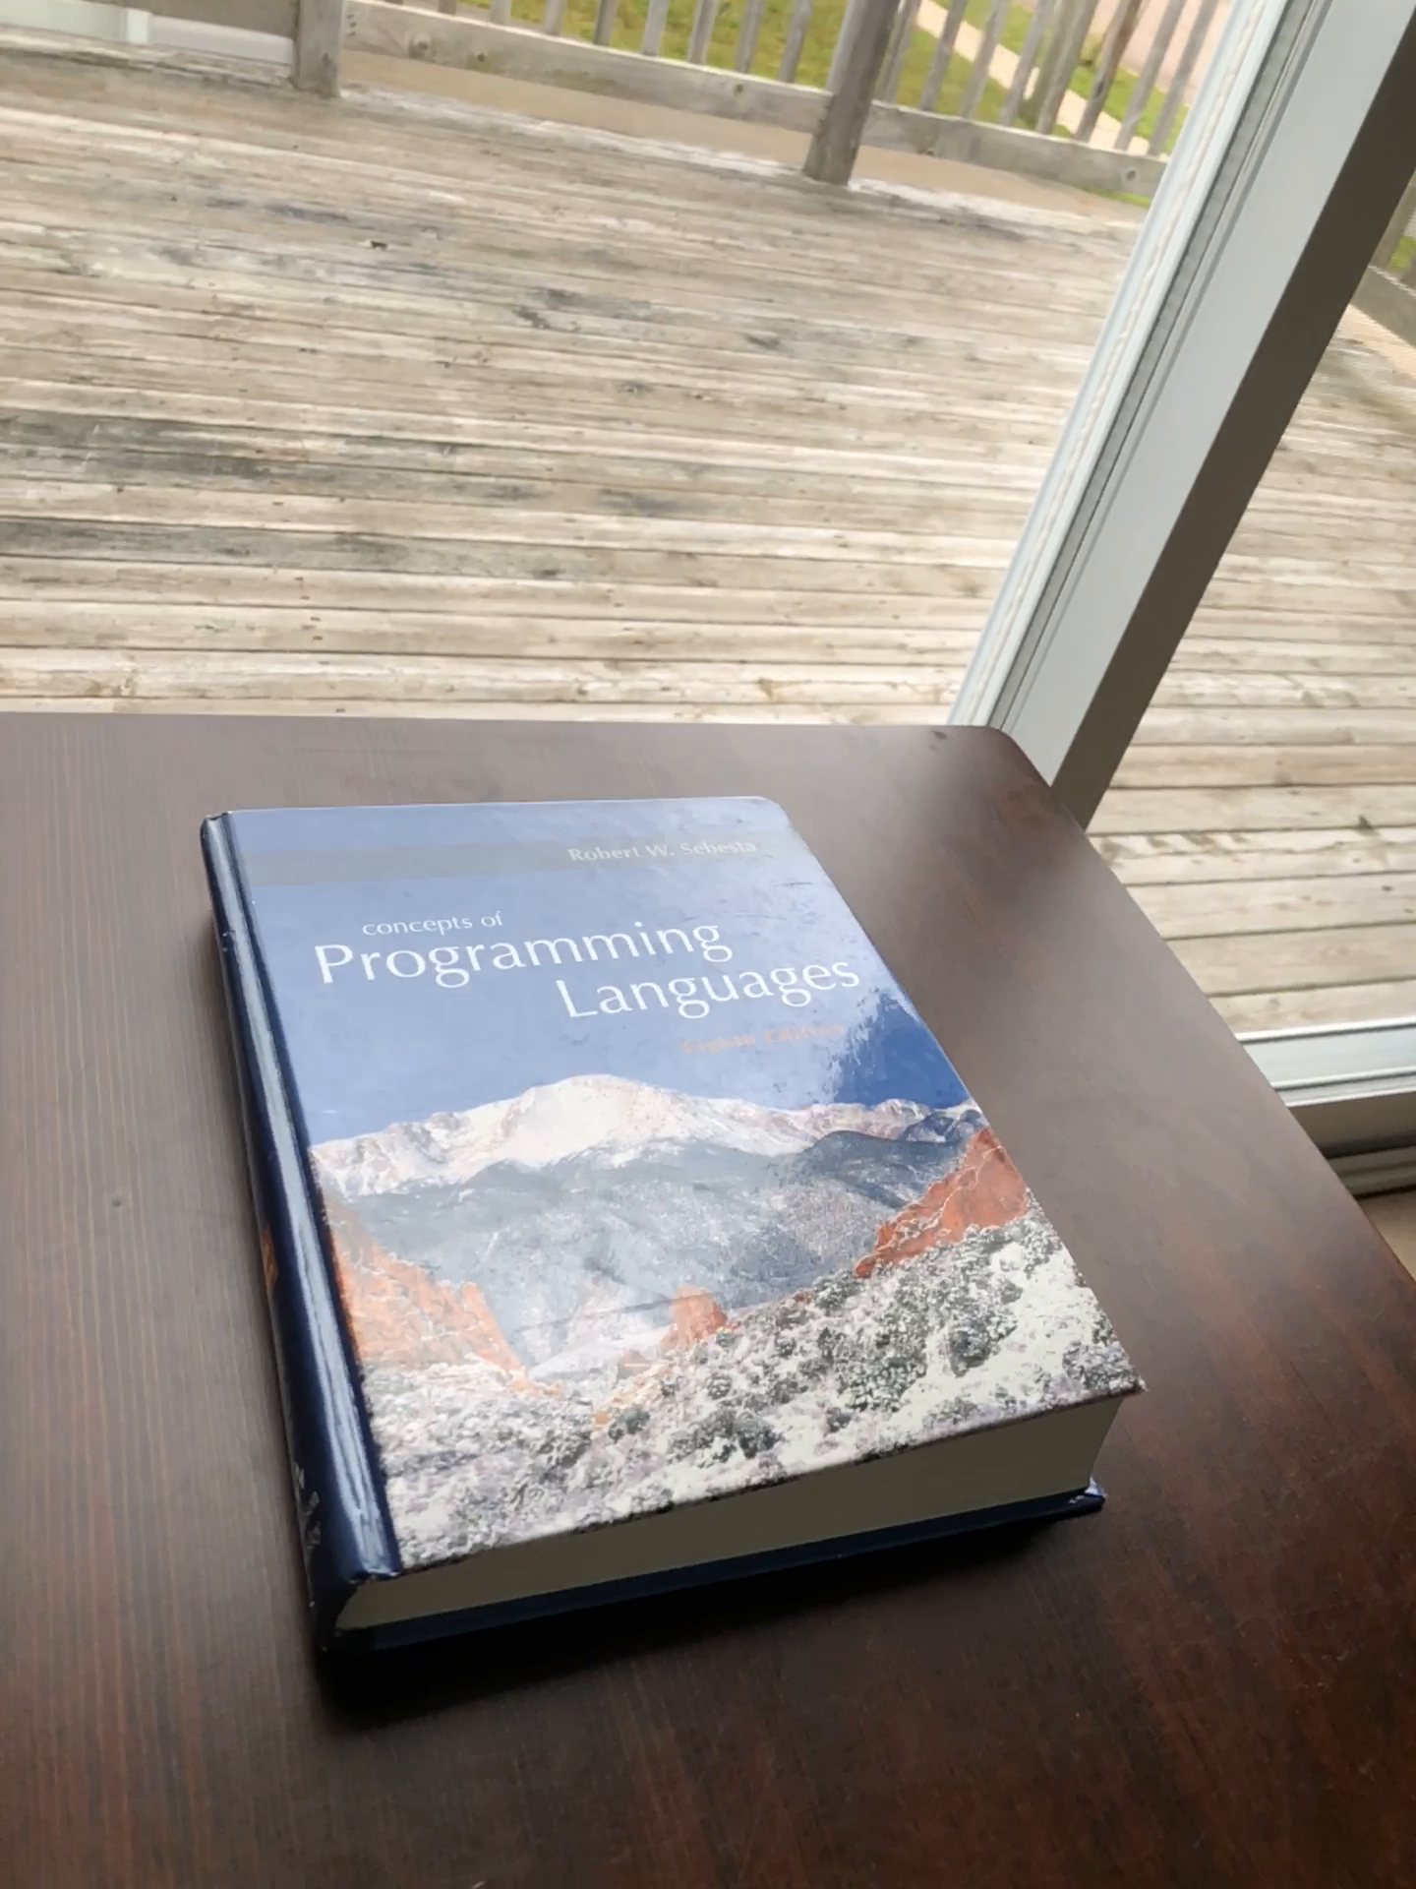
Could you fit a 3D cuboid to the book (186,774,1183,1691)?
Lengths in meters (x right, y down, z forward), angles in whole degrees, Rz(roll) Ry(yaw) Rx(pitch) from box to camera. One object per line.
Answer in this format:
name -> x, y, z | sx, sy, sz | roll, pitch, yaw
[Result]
book -> -0.024, 0.046, 0.411 | 0.195, 0.048, 0.237 | -2, 43, -23
